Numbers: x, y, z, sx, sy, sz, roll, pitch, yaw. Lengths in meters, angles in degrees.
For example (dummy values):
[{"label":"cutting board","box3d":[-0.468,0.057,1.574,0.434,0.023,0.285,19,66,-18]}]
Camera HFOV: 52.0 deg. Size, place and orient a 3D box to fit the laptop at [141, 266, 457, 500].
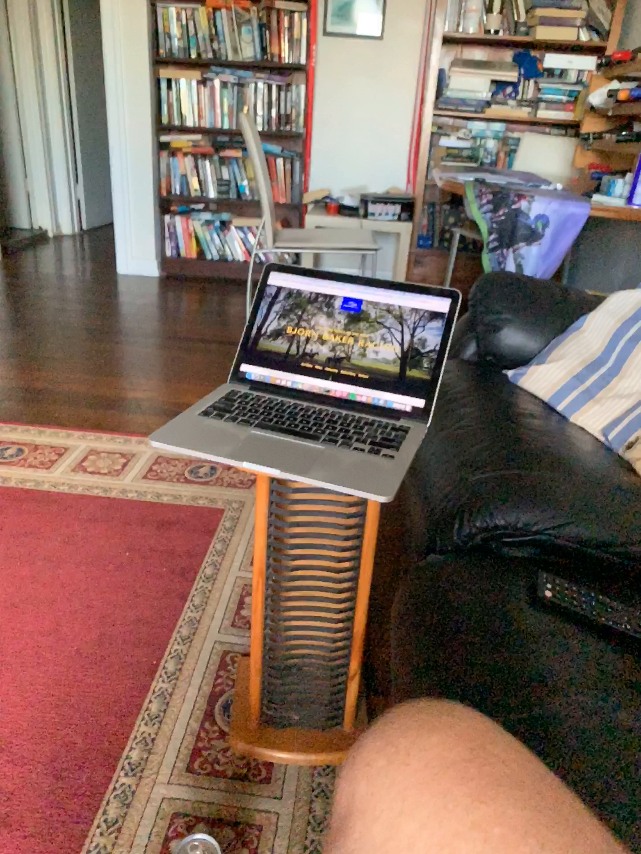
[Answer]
[{"label":"laptop","box3d":[-0.008,-0.088,0.885,0.312,0.161,0.341,13,25,17]}]
